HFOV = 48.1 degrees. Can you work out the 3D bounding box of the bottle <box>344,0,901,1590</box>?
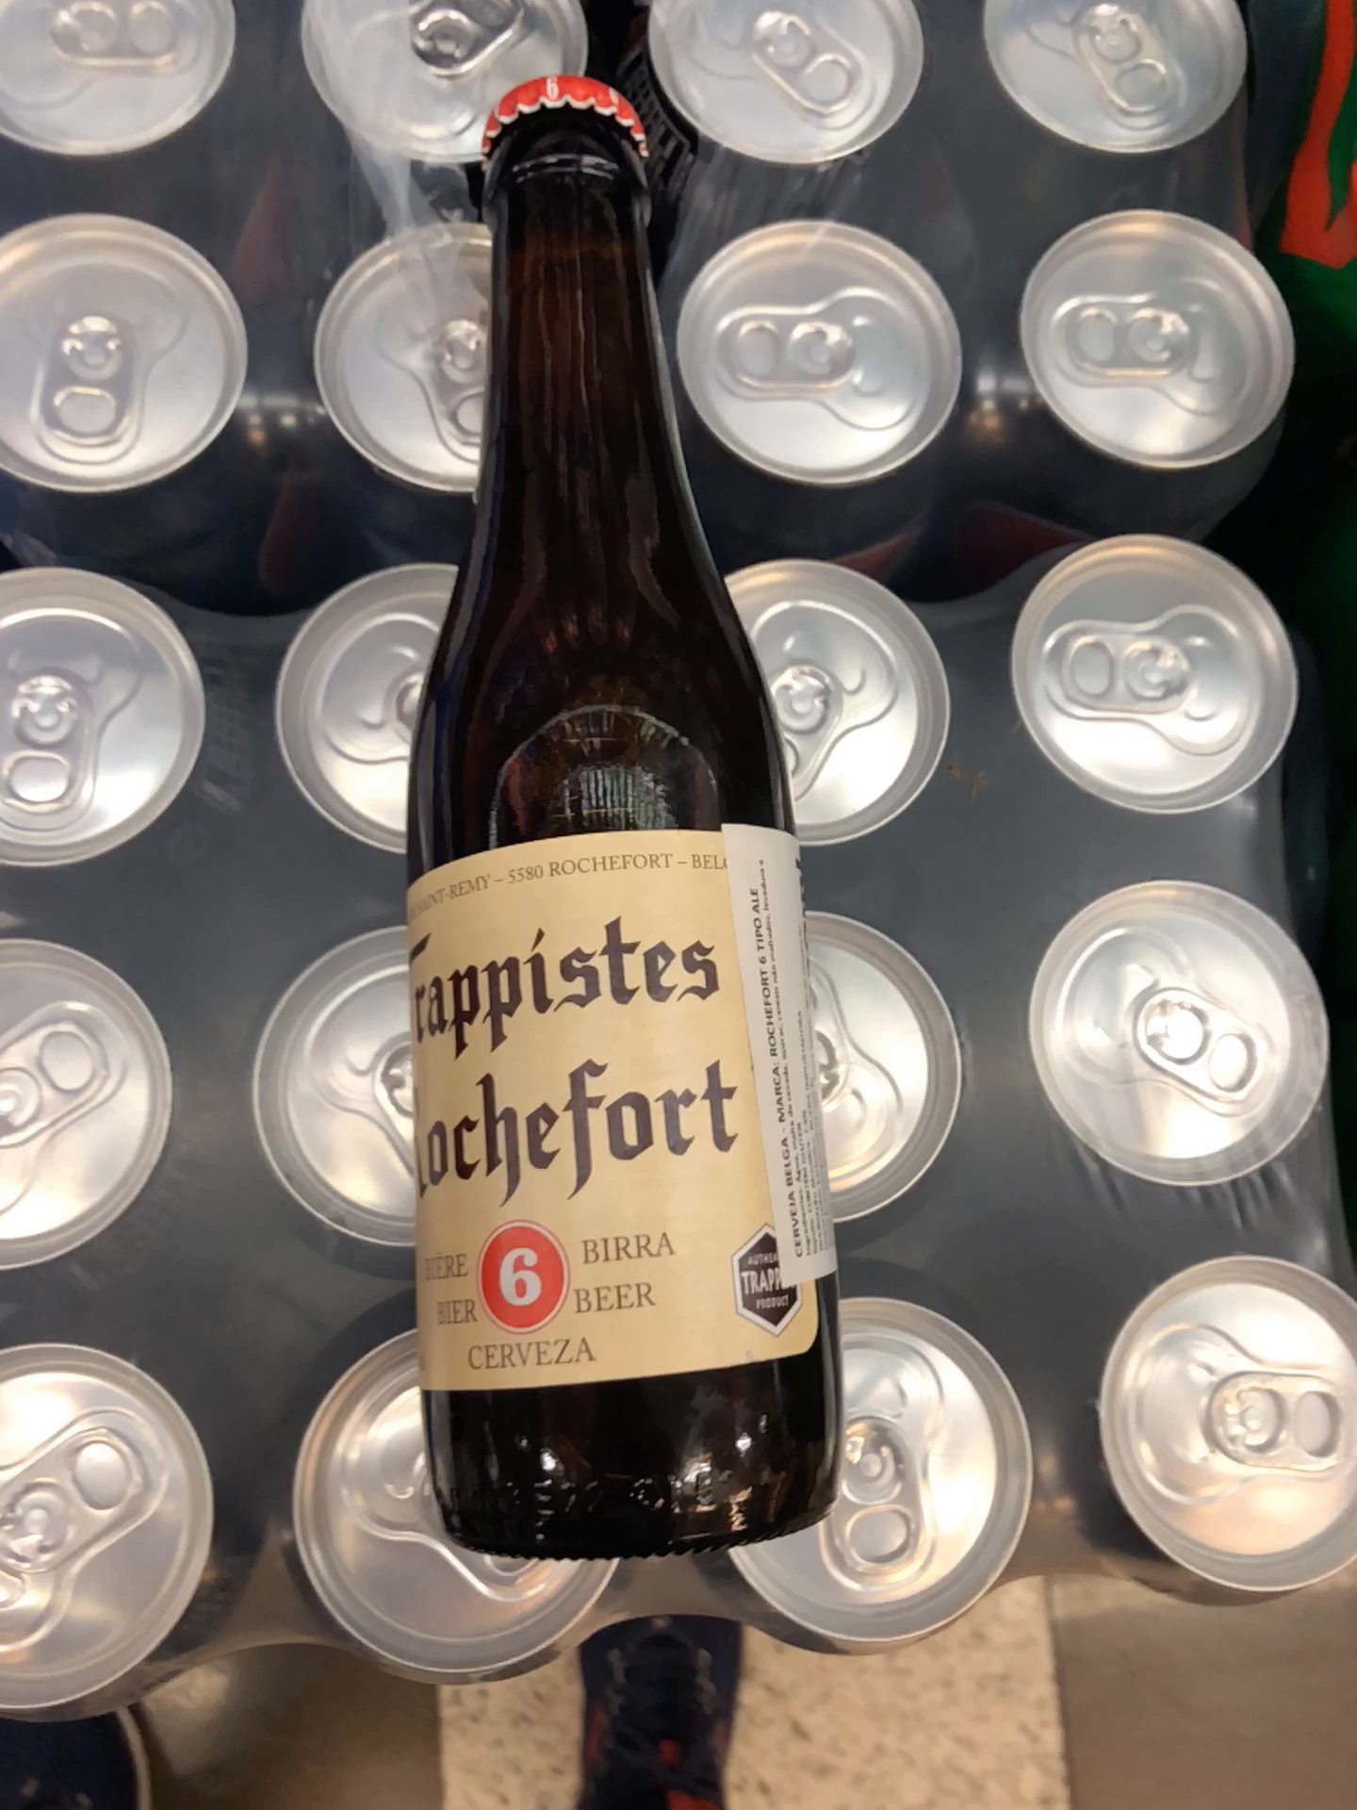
[{"bbox_3d":[-0.013,-0.033,0.230,0.060,0.050,0.240,-3,79,-5],"label":"bottle"}]
